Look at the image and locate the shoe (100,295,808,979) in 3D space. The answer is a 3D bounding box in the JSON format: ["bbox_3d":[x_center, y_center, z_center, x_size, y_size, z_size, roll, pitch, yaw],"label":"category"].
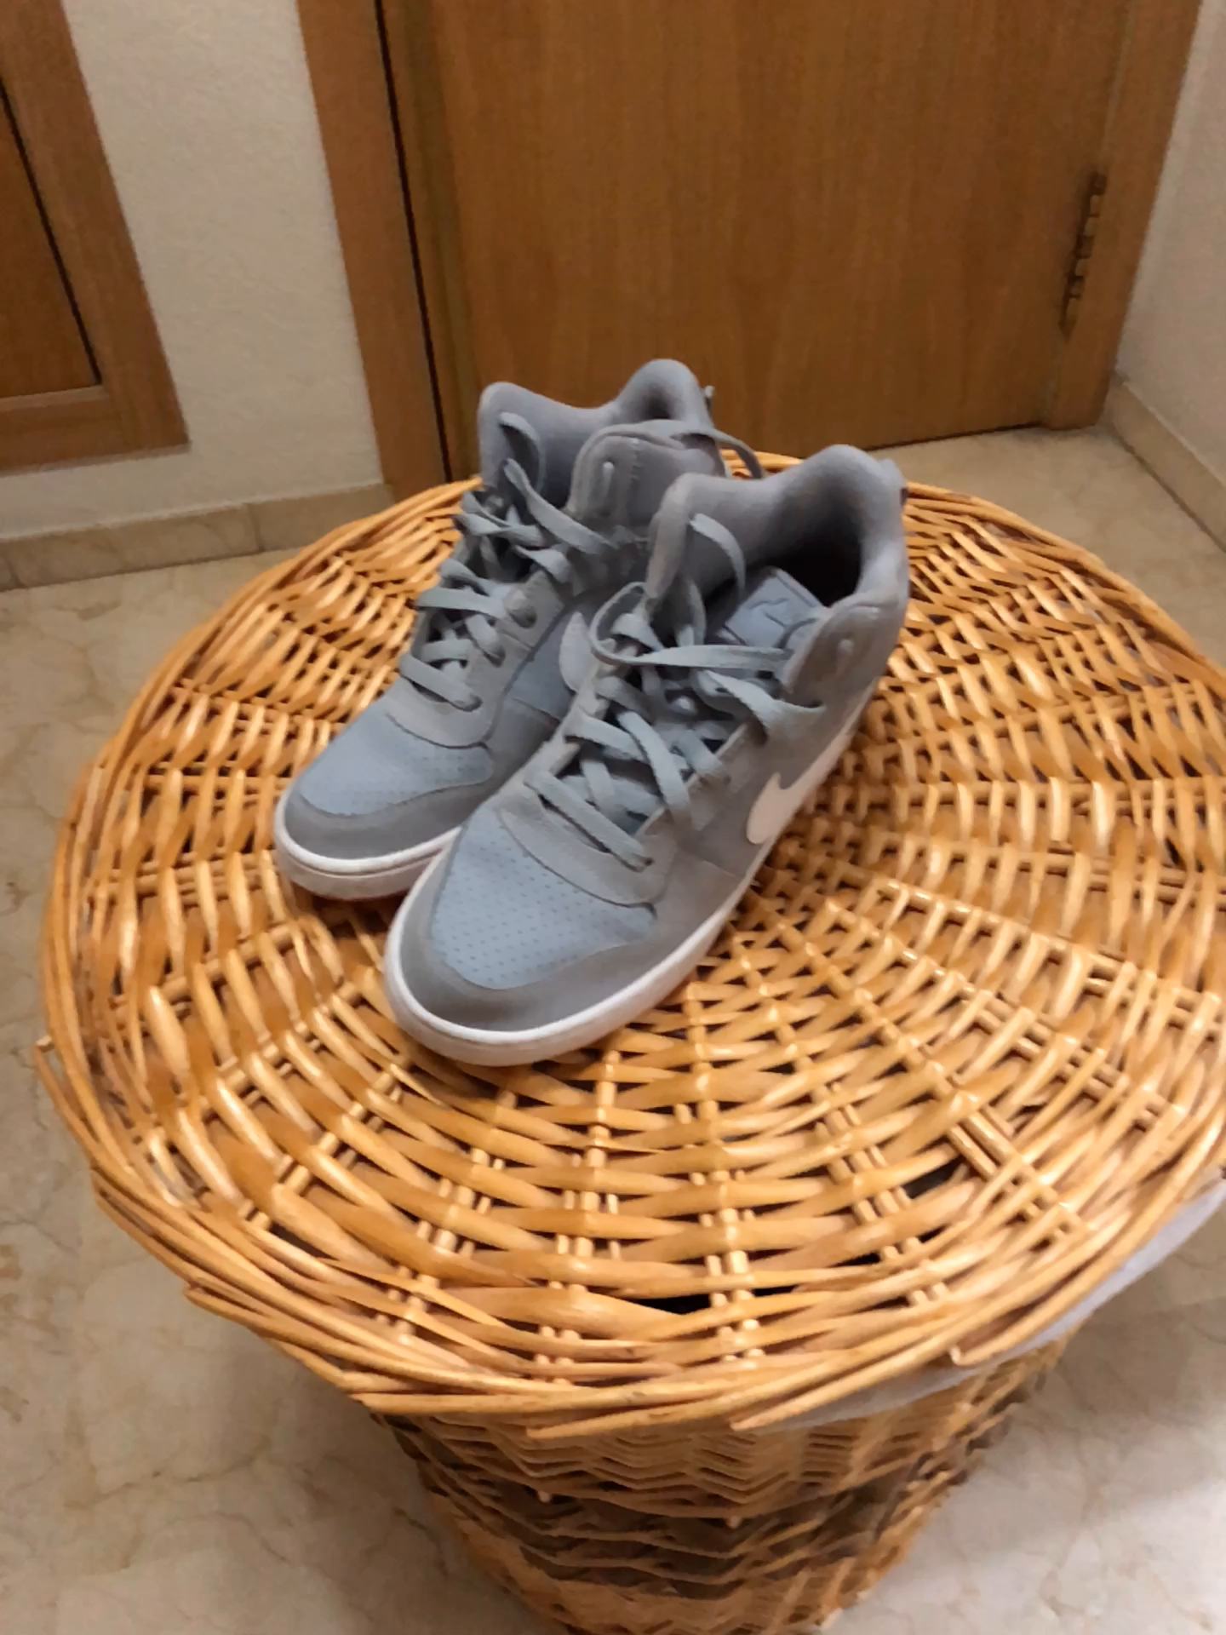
[{"bbox_3d":[-0.045,-0.079,0.533,0.105,0.120,0.251,35,62,30],"label":"shoe"}]

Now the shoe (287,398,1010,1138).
[{"bbox_3d":[0.018,-0.027,0.483,0.099,0.117,0.248,37,57,19],"label":"shoe"}]
